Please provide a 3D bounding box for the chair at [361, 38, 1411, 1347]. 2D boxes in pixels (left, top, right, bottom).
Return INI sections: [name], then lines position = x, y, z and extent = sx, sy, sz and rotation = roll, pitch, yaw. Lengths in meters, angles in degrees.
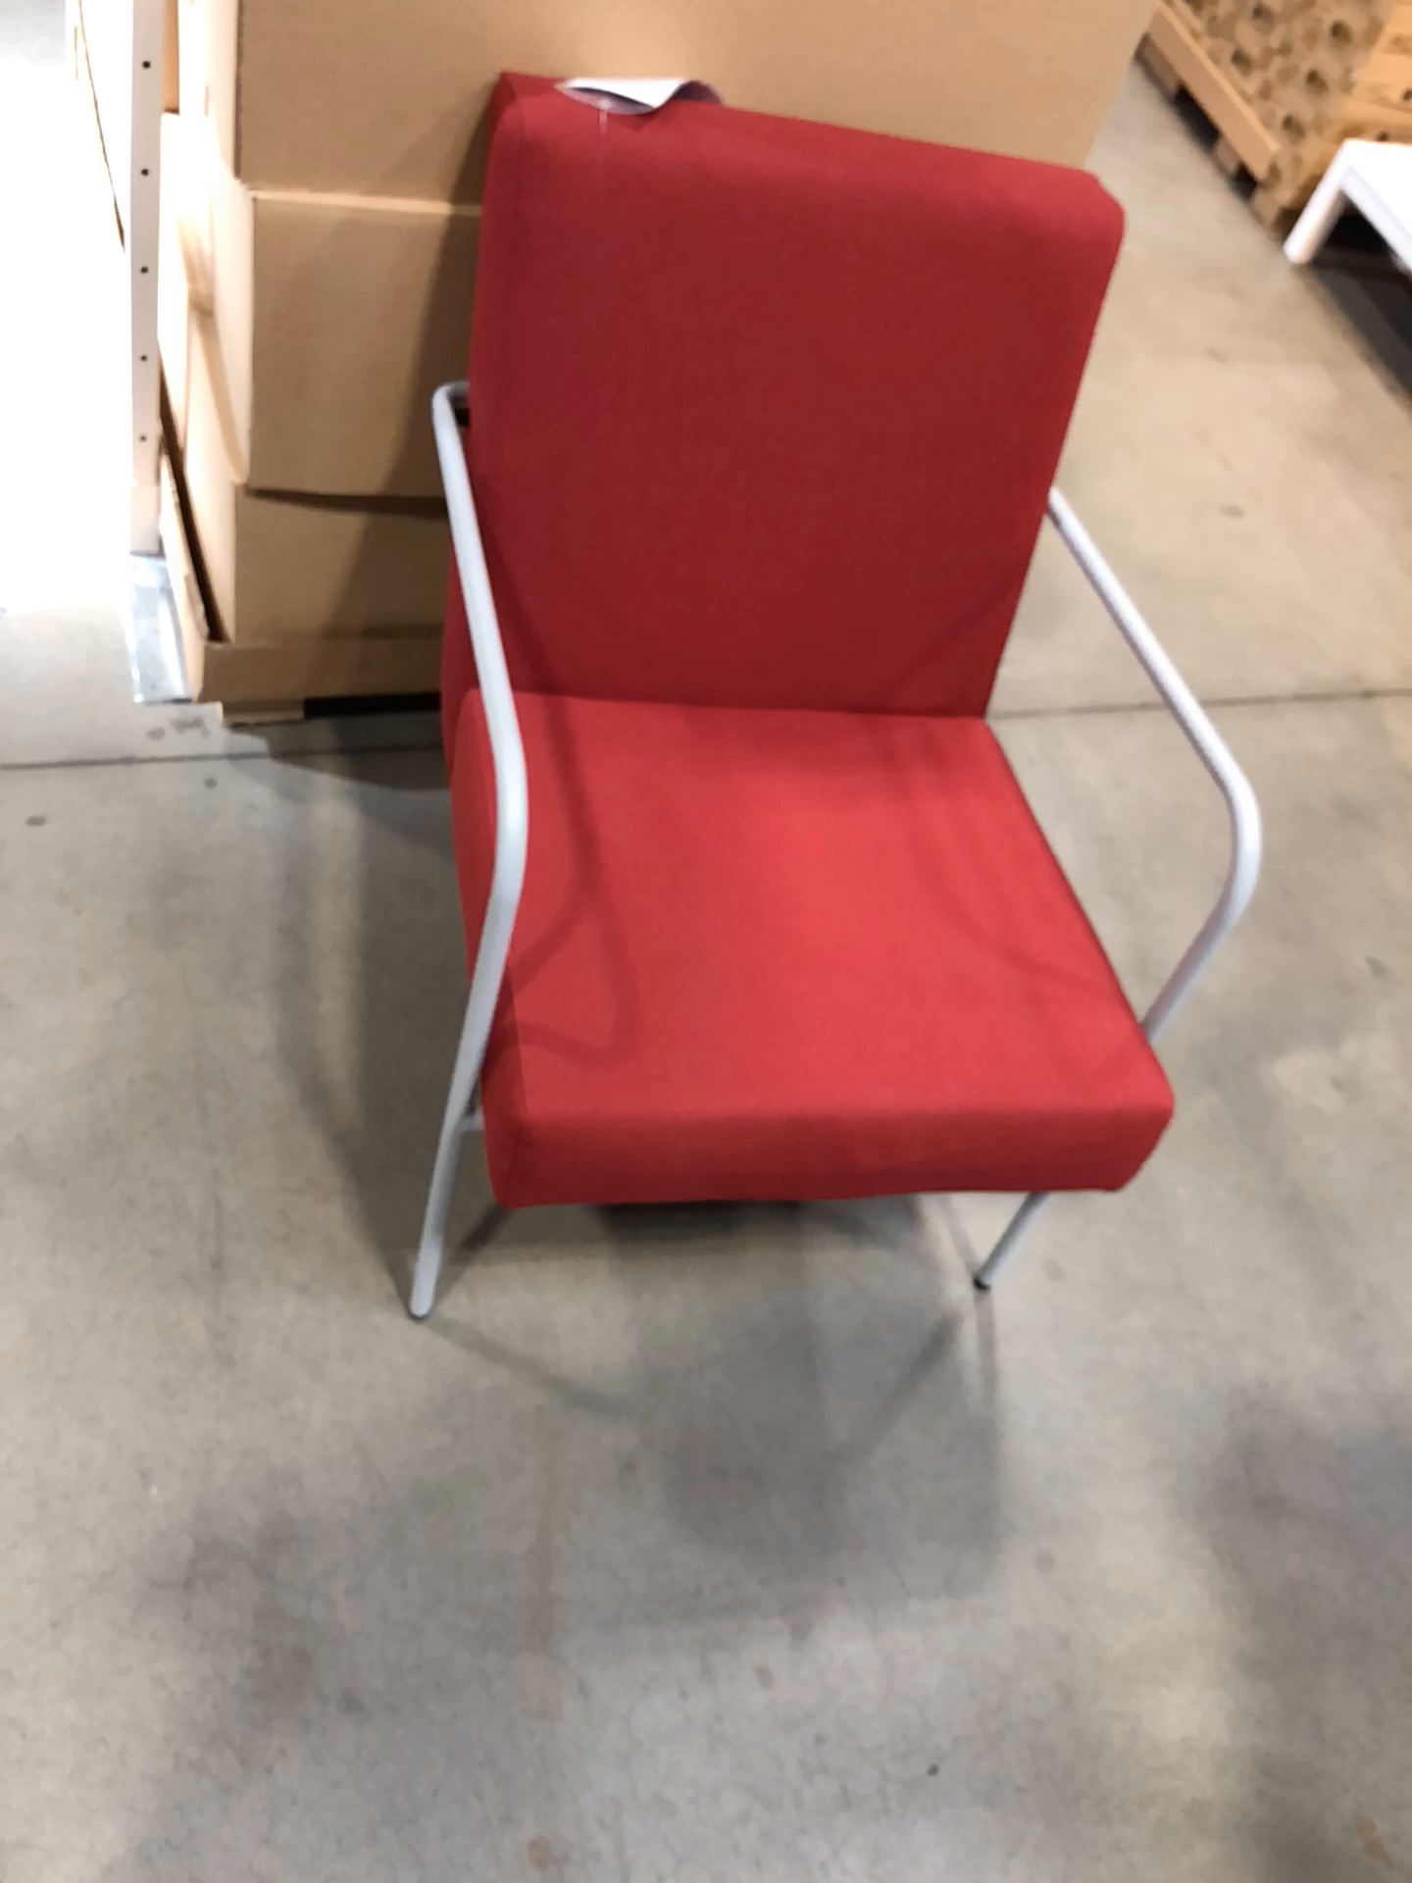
[chair]
position = 0.064, -0.170, 1.348
extent = 0.631, 0.708, 0.761
rotation = 0, 55, -17
